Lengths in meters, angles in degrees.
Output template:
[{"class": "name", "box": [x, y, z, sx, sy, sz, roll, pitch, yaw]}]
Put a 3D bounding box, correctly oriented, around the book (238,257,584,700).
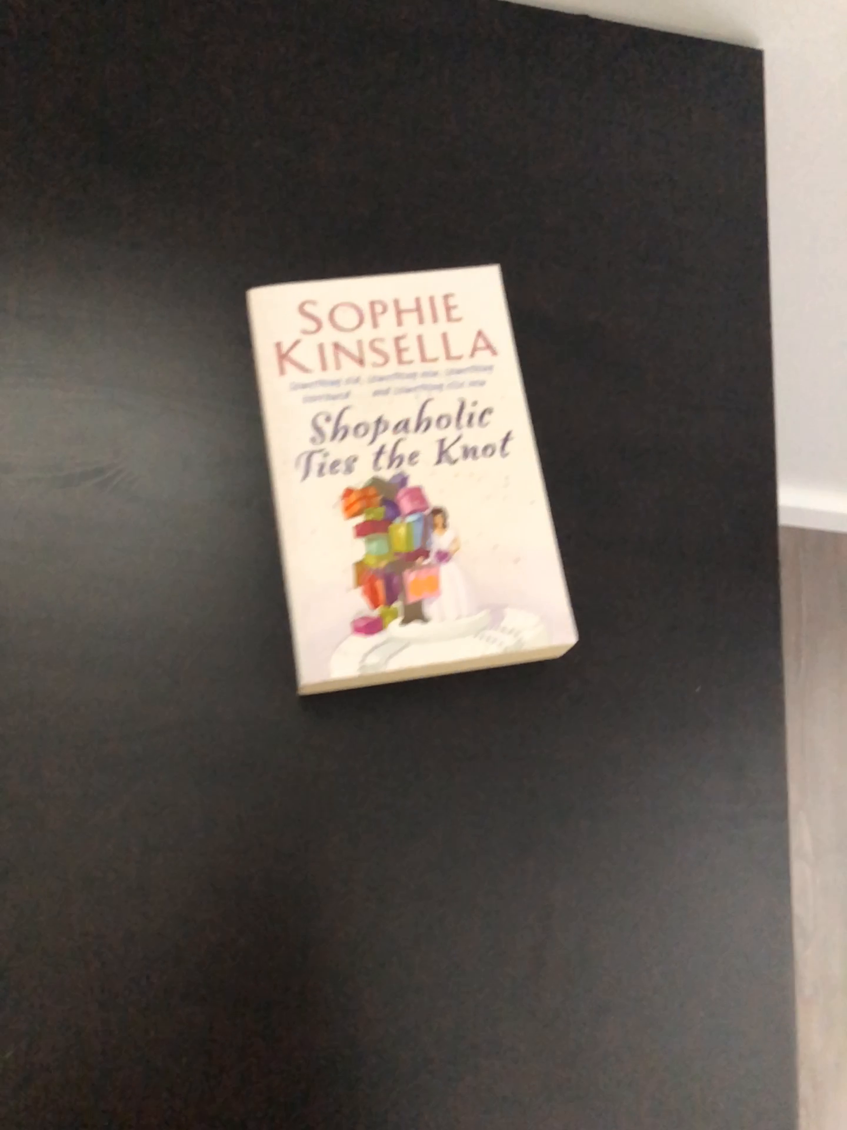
[{"class": "book", "box": [-0.011, -0.046, 0.452, 0.130, 0.035, 0.200, -8, 74, -8]}]
